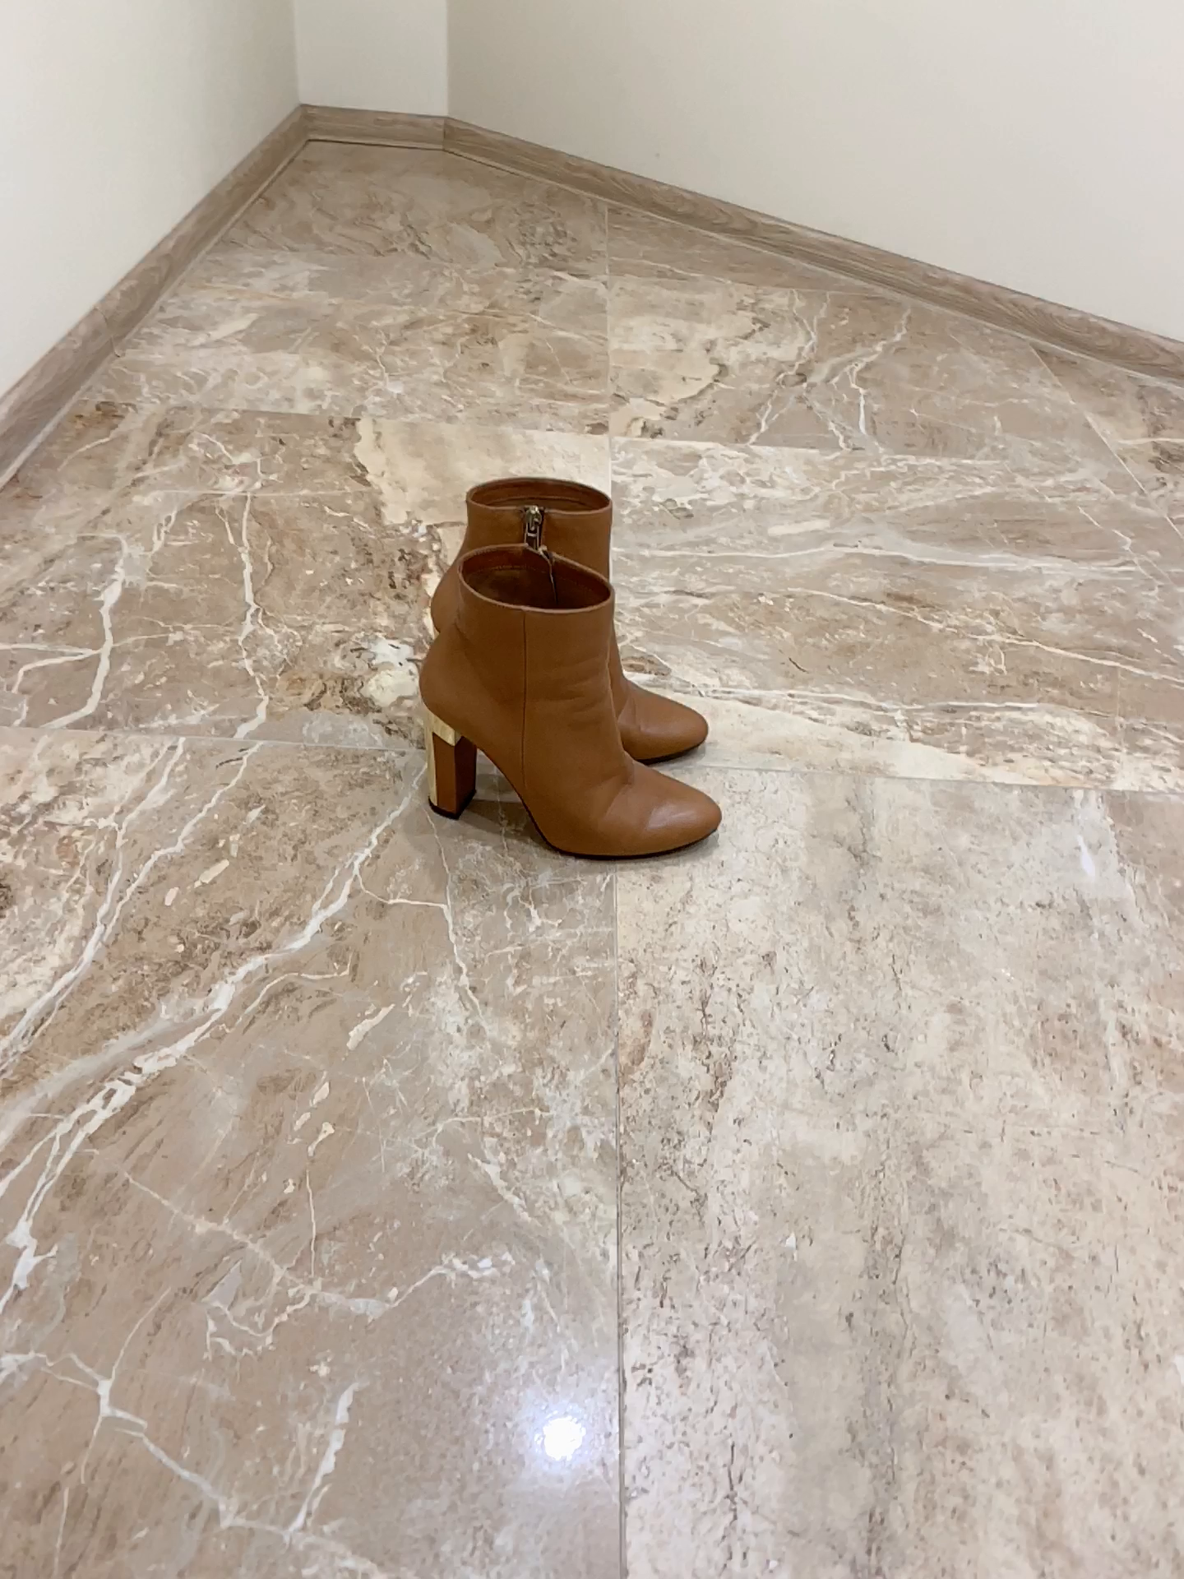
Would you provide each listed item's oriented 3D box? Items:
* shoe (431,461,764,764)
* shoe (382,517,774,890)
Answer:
[{"bbox_3d":[-0.003,-0.121,0.849,0.210,0.175,0.091,3,38,-3],"label":"shoe"},{"bbox_3d":[-0.012,-0.054,0.776,0.220,0.184,0.091,10,38,6],"label":"shoe"}]
